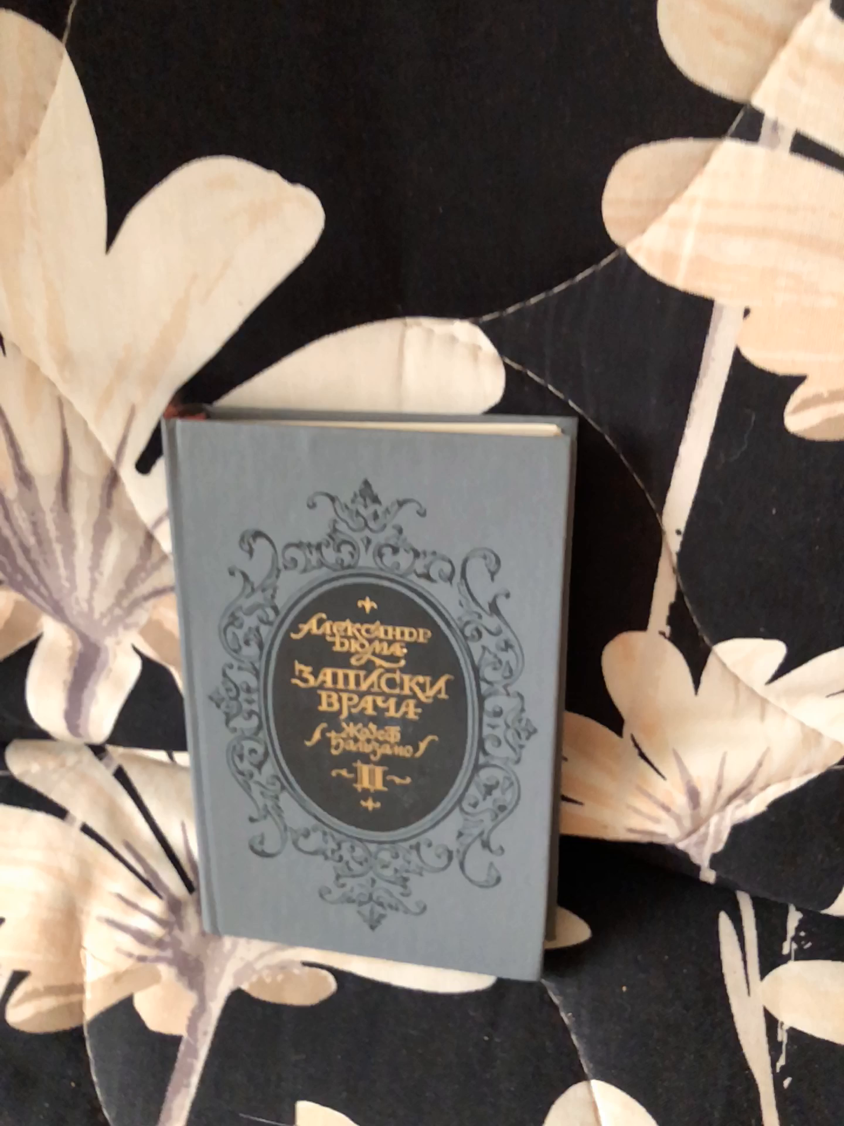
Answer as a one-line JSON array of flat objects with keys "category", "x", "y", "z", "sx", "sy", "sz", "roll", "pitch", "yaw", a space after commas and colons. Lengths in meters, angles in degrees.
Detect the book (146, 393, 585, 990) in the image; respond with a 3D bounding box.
[{"category": "book", "x": -0.020, "y": 0.049, "z": 0.342, "sx": 0.140, "sy": 0.030, "sz": 0.210, "roll": 4, "pitch": 109, "yaw": 9}]
